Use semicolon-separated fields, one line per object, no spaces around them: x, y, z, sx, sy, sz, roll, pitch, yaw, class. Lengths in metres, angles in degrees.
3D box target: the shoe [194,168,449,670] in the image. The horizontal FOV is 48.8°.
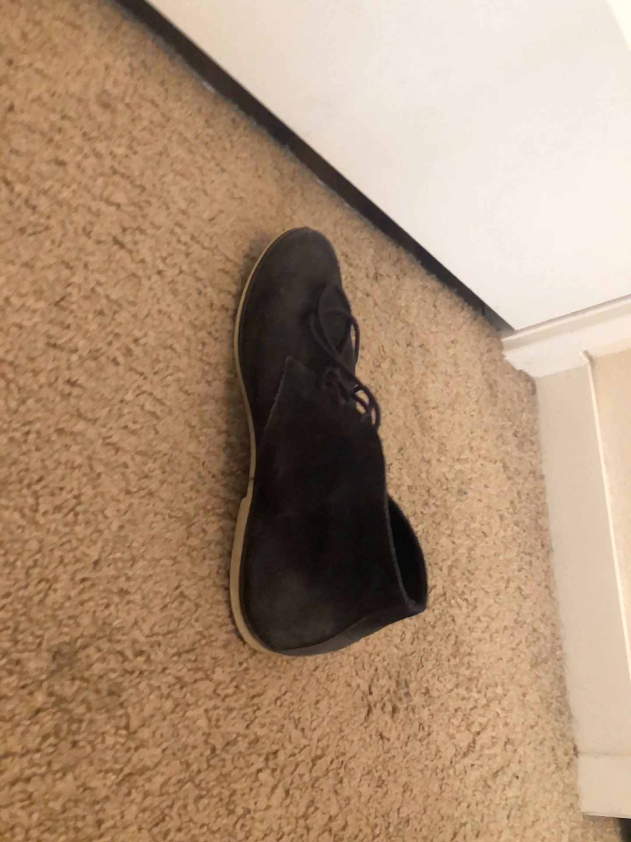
0.010;0.002;0.431;0.103;0.094;0.279;27;57;-45;shoe
